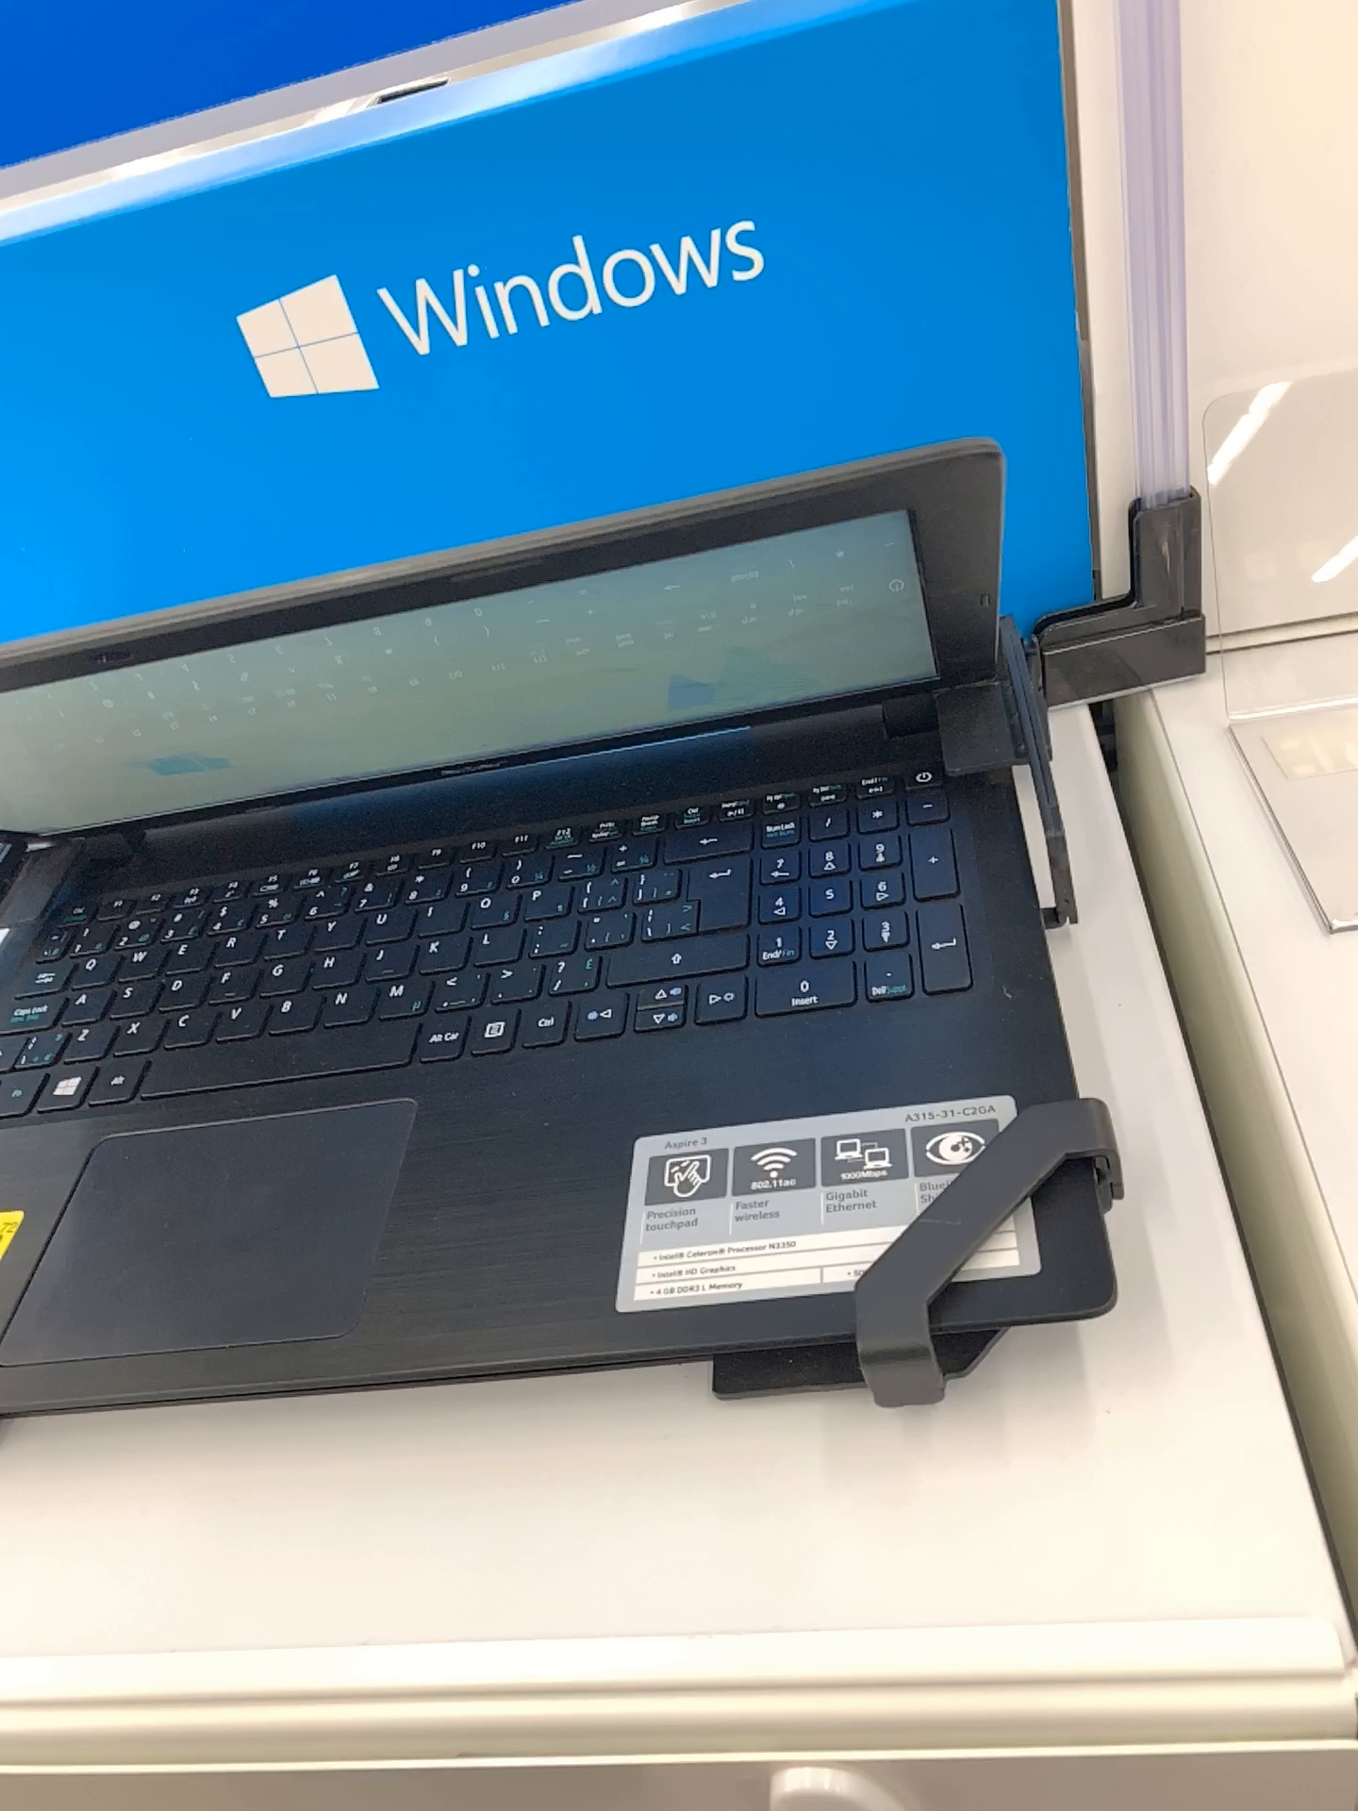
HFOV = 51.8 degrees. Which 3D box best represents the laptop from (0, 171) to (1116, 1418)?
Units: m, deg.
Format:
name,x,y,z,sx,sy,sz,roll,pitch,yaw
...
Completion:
name,x,y,z,sx,sy,sz,roll,pitch,yaw
laptop,-0.090,-0.029,0.352,0.344,0.157,0.234,-8,39,13
